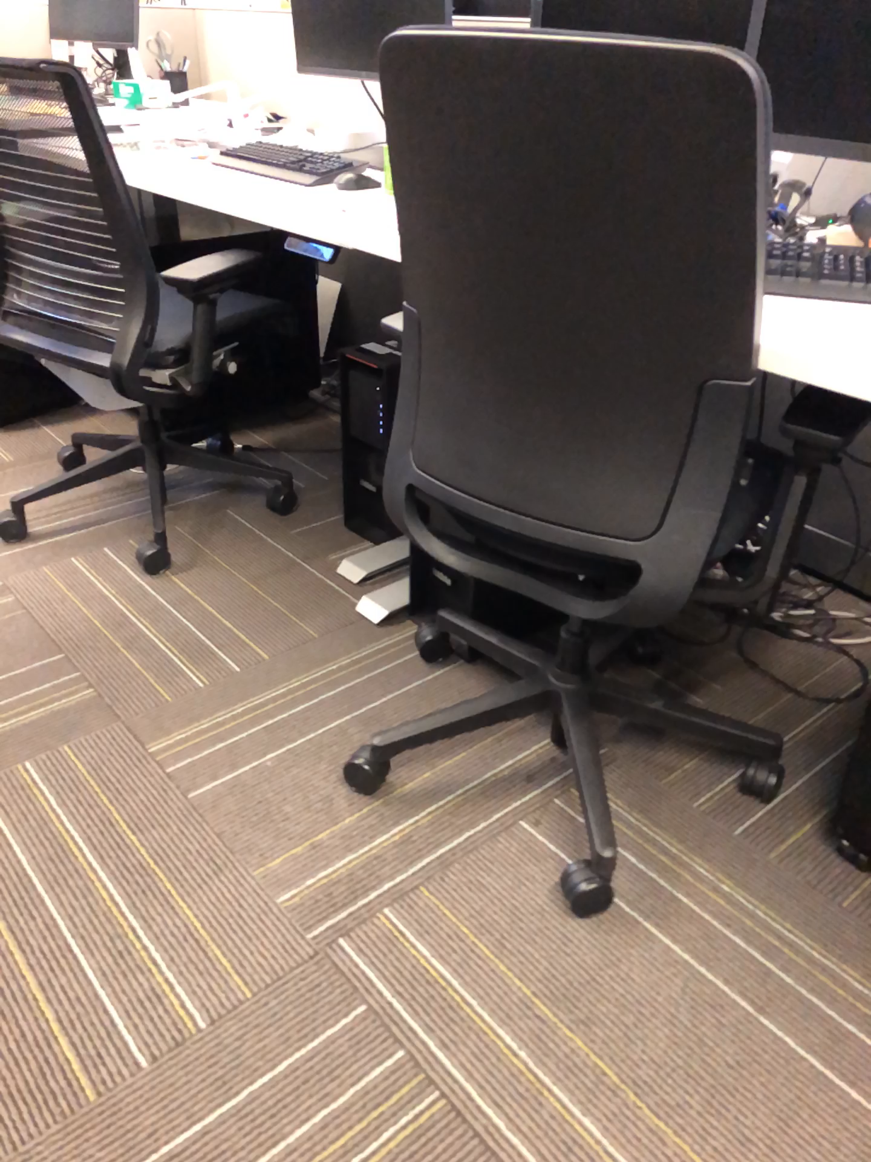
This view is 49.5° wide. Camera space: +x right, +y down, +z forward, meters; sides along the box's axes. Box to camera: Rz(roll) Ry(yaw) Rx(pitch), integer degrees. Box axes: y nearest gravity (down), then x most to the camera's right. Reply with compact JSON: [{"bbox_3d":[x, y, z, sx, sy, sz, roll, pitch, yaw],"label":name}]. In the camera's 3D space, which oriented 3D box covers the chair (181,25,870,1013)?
[{"bbox_3d":[0.214,-0.174,1.344,0.712,1.044,0.723,24,37,33],"label":"chair"}]
